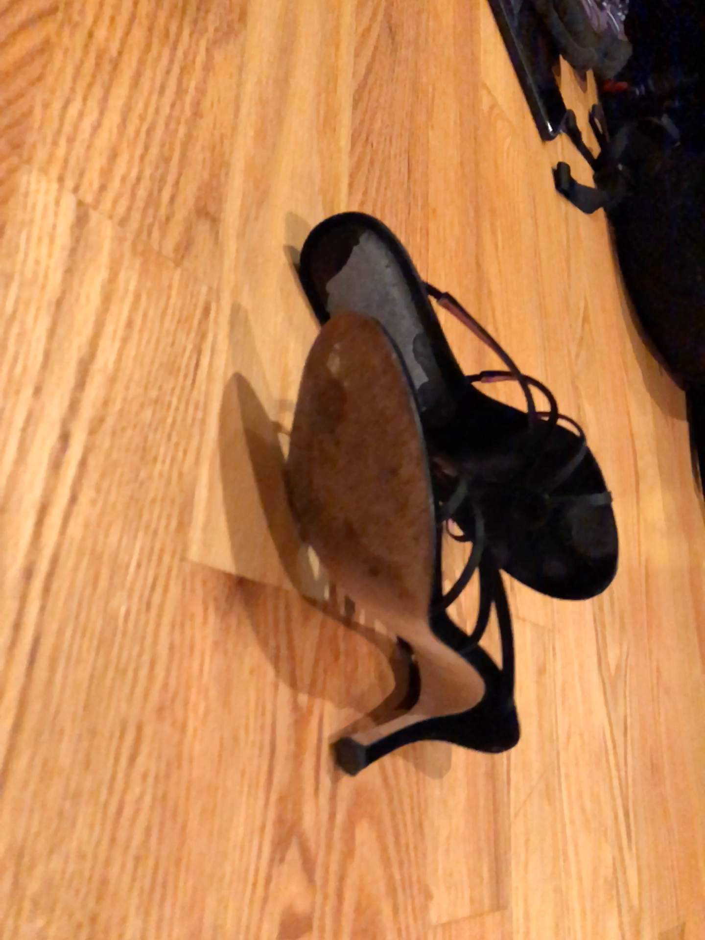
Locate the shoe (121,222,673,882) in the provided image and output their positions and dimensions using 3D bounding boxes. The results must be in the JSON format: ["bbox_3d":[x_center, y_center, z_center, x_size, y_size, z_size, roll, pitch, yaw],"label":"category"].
[{"bbox_3d":[0.035,0.040,0.298,0.215,0.104,0.102,61,36,-22],"label":"shoe"}]

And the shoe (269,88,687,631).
[{"bbox_3d":[0.073,-0.040,0.382,0.235,0.104,0.082,62,38,-21],"label":"shoe"}]
